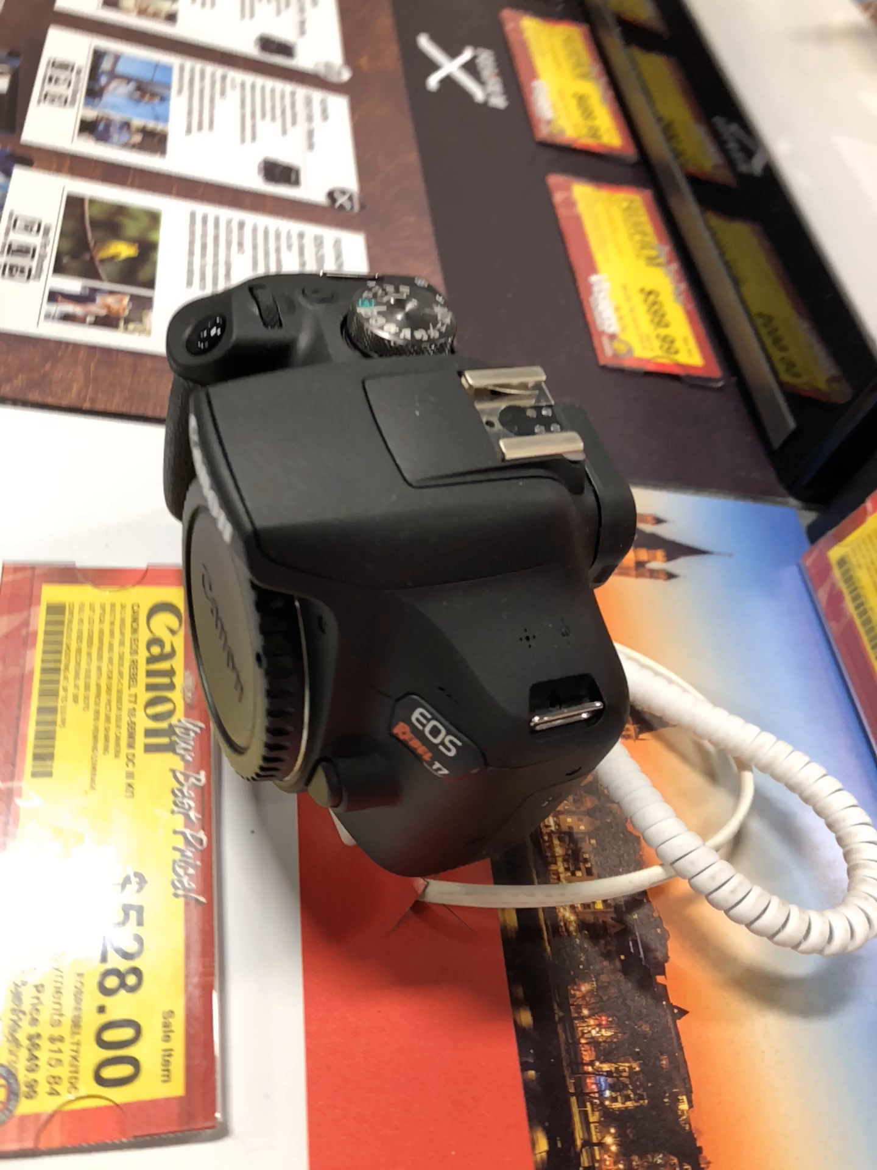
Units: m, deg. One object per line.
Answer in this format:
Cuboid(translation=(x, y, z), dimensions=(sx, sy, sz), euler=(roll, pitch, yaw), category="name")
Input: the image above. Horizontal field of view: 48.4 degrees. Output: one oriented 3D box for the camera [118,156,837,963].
Cuboid(translation=(-0.008, -0.009, 0.210), dimensions=(0.090, 0.090, 0.130), euler=(-7, 57, -26), category="camera")
